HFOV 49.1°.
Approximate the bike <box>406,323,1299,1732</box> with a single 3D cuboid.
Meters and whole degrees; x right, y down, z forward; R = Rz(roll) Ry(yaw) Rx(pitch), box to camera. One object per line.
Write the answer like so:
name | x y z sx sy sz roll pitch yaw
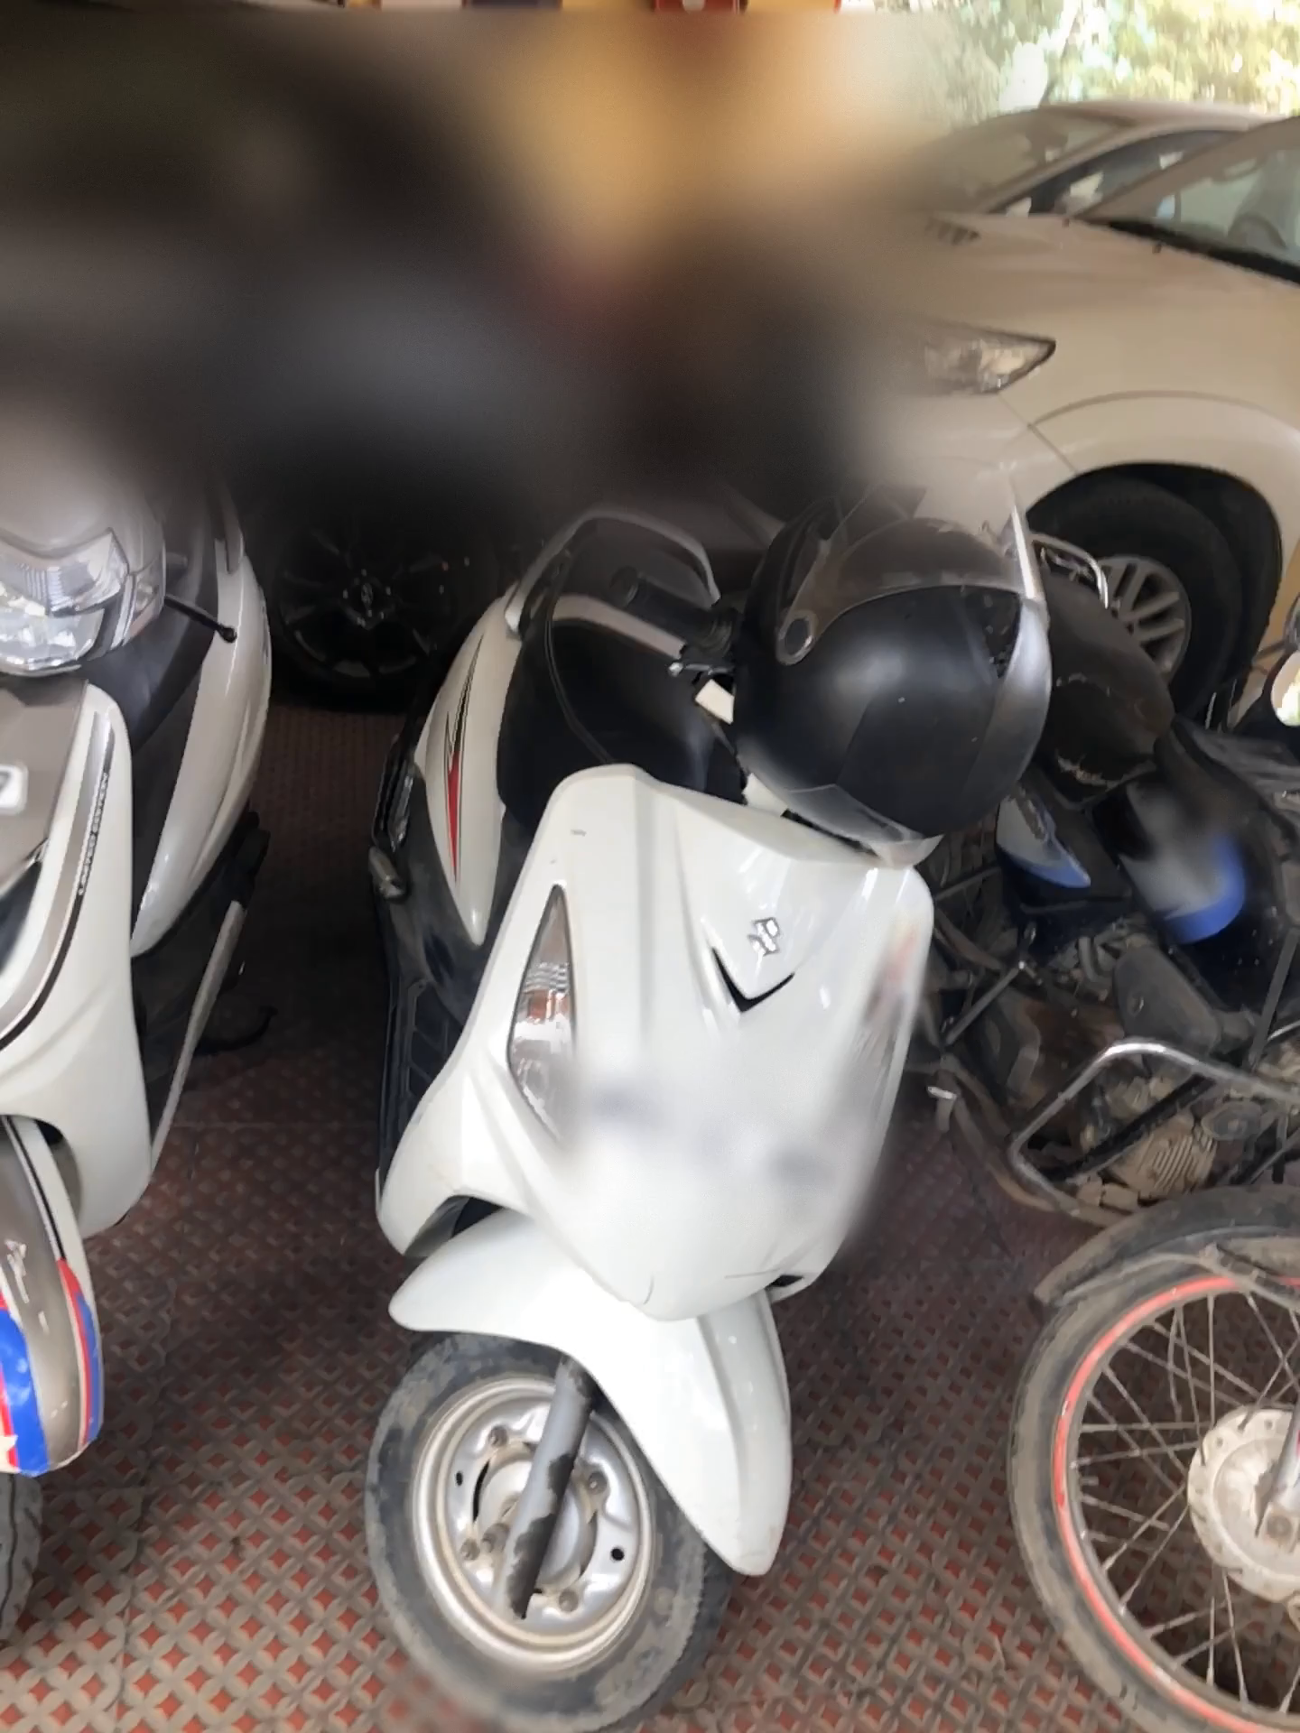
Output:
bike | 0.201 0.151 1.865 0.833 0.941 1.515 0 39 -17
